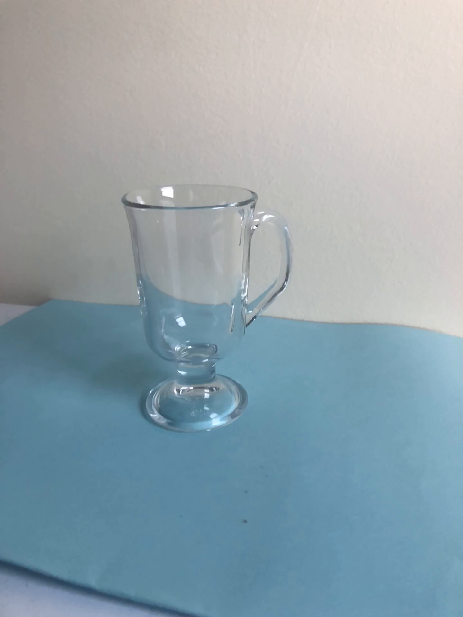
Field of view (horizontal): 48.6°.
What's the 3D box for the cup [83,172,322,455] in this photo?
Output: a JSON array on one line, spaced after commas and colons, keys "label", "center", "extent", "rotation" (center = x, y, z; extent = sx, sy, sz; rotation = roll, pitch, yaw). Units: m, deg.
[{"label": "cup", "center": [-0.016, -0.004, 0.276], "extent": [0.100, 0.119, 0.070], "rotation": [-10, 24, -21]}]
